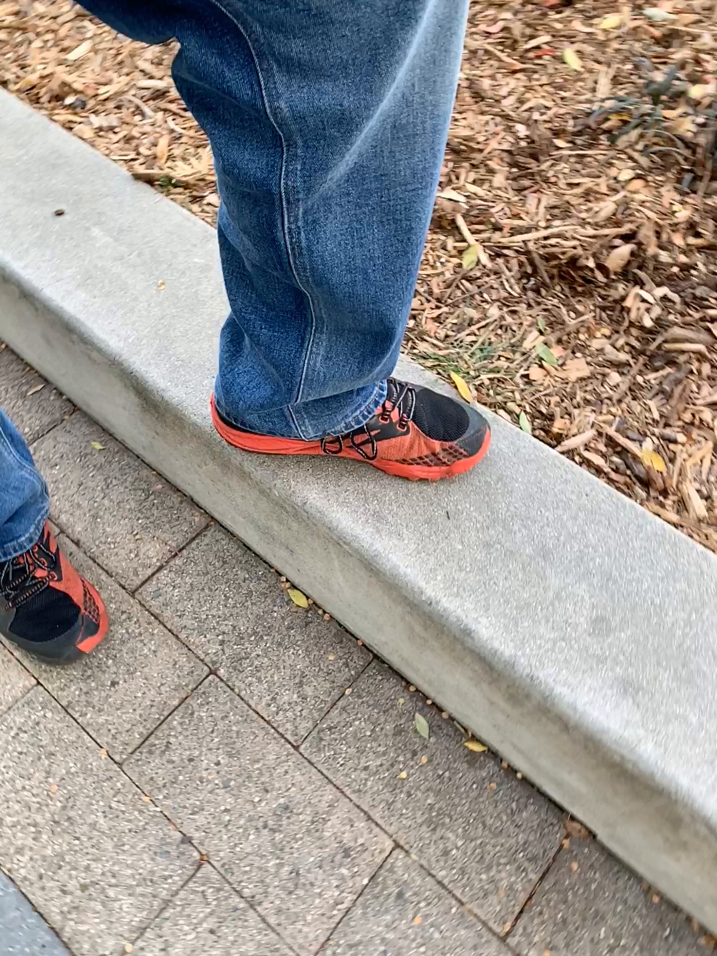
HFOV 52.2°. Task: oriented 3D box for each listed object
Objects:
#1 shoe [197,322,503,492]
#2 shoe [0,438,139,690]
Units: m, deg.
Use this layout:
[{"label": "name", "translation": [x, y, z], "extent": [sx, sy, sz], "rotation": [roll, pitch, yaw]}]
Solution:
[{"label": "shoe", "translation": [-0.005, -0.079, 0.810], "extent": [0.310, 0.080, 0.122], "rotation": [8, 56, 3]}, {"label": "shoe", "translation": [-0.434, 0.102, 0.942], "extent": [0.136, 0.080, 0.307], "rotation": [-36, 65, -24]}]
